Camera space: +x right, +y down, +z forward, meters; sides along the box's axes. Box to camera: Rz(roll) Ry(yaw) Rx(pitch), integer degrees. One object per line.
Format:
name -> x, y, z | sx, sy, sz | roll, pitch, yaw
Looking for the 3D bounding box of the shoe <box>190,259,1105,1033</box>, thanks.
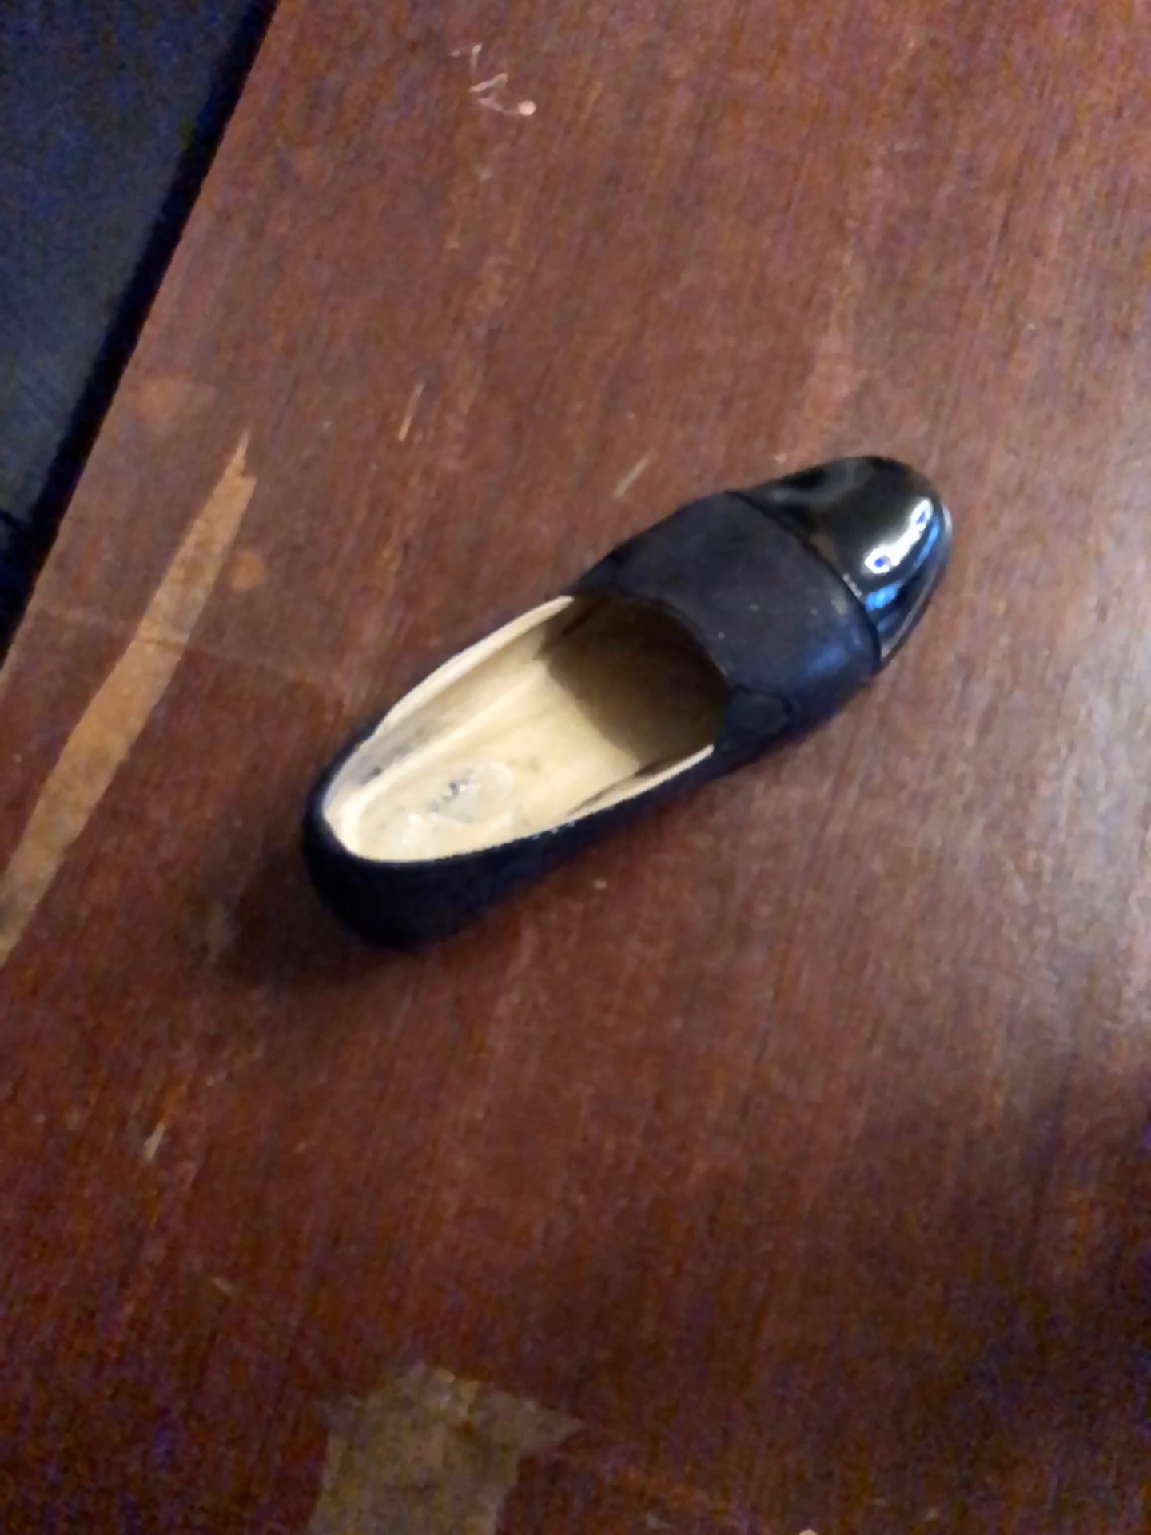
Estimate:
shoe -> 0.022, -0.028, 0.386 | 0.235, 0.090, 0.089 | -35, 75, -3
